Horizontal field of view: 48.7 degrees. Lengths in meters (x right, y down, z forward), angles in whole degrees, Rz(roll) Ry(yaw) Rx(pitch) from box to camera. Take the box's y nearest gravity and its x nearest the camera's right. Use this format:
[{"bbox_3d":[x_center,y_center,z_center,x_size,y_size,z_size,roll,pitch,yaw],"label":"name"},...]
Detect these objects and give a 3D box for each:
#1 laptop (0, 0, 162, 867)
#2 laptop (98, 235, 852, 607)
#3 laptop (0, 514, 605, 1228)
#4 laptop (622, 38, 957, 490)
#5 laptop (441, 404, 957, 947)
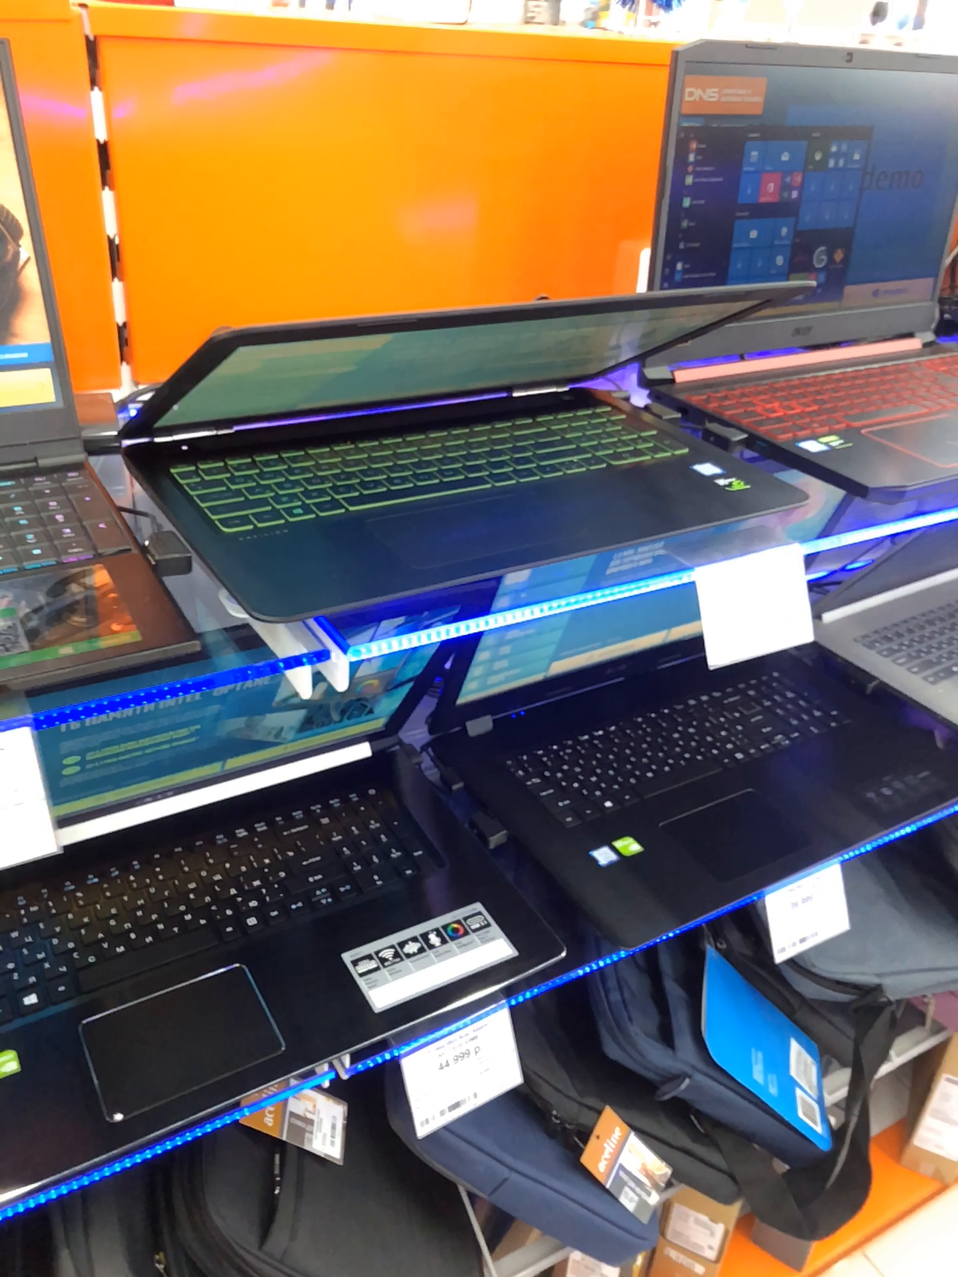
[{"bbox_3d":[-0.356,-0.134,0.452,0.340,0.219,0.304,-13,34,-28],"label":"laptop"},{"bbox_3d":[-0.004,-0.157,0.647,0.370,0.118,0.227,-14,35,-28],"label":"laptop"},{"bbox_3d":[-0.175,0.101,0.676,0.412,0.217,0.263,-13,34,-28],"label":"laptop"},{"bbox_3d":[0.376,-0.310,0.834,0.410,0.245,0.254,-16,36,-32],"label":"laptop"},{"bbox_3d":[0.212,-0.004,0.874,0.397,0.255,0.275,-15,33,-27],"label":"laptop"}]
